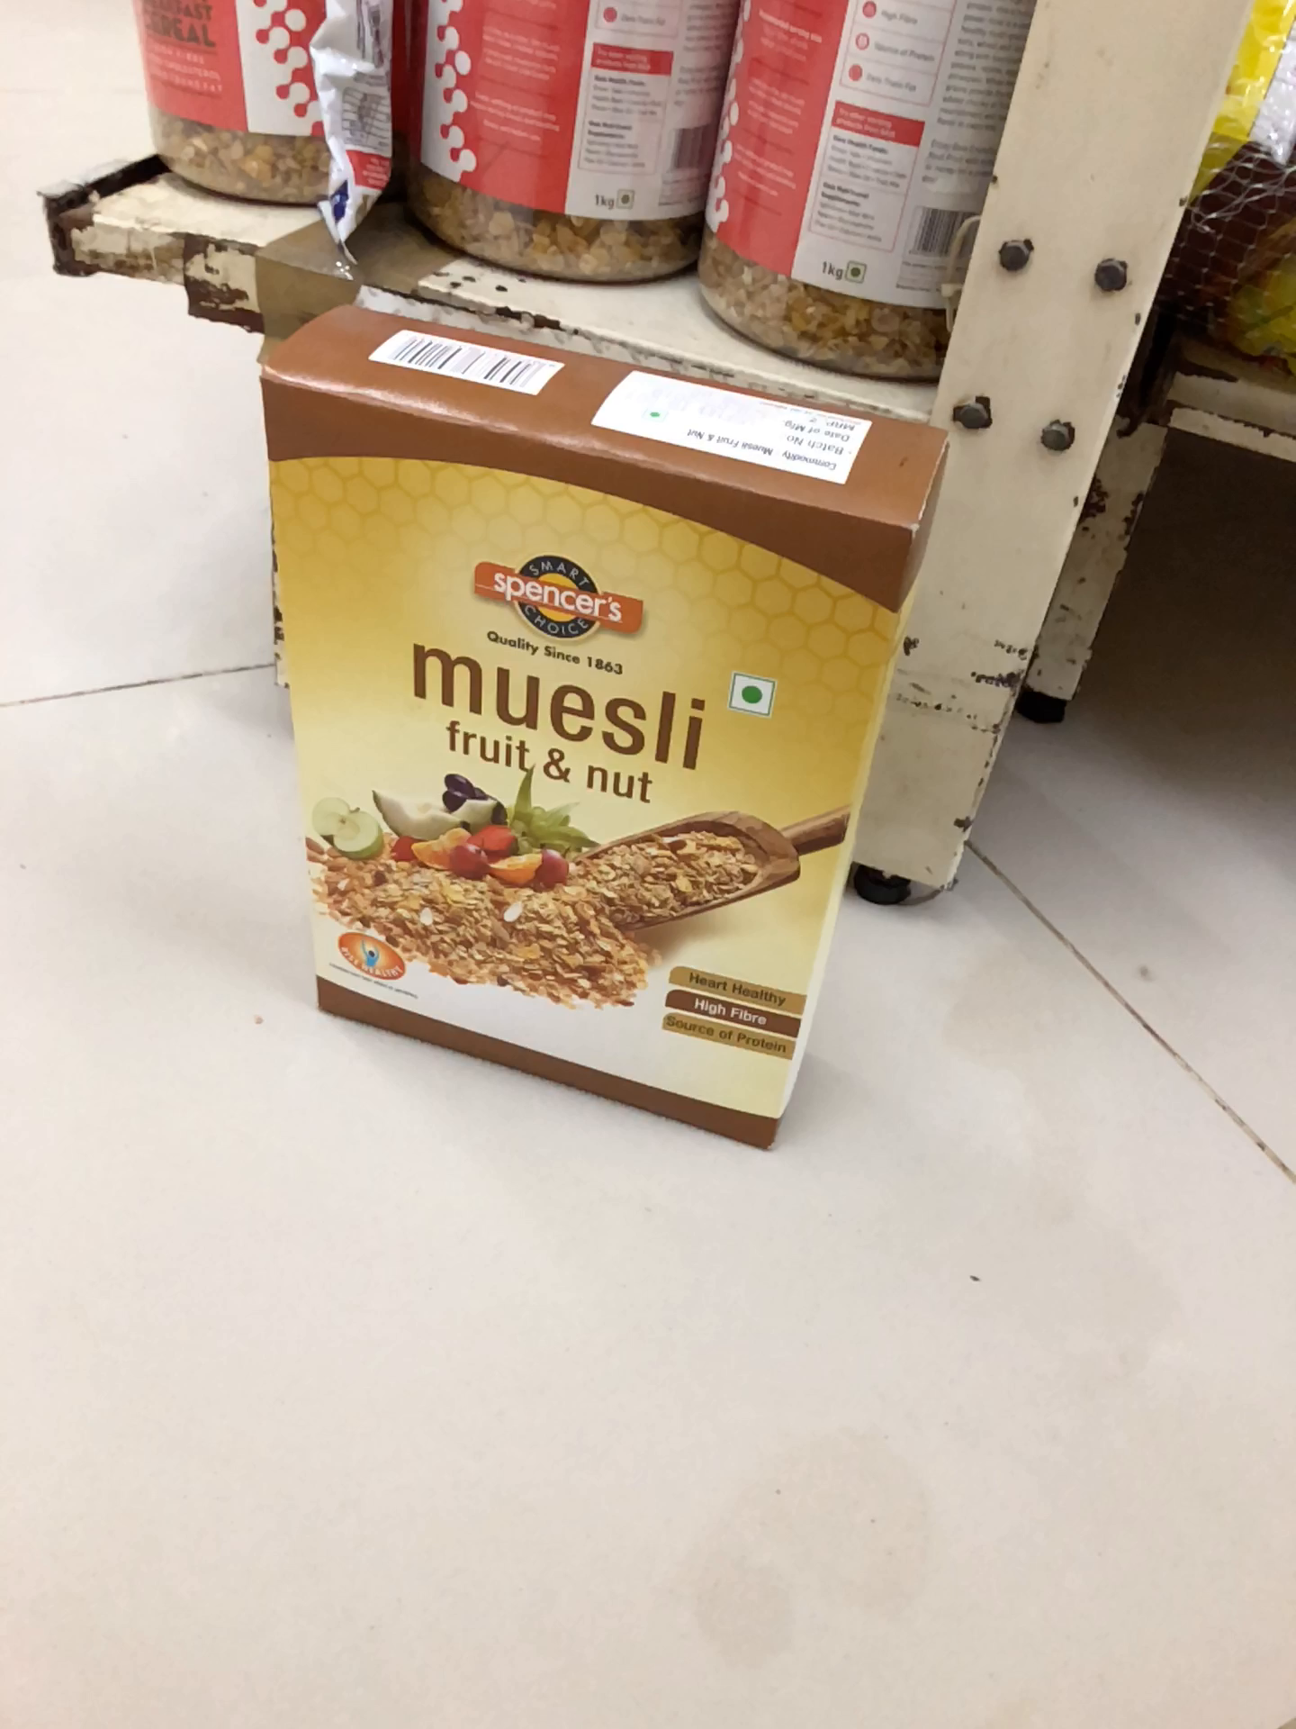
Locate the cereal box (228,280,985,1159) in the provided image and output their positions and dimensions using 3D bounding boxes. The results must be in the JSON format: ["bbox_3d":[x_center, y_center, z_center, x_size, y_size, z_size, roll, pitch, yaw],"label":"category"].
[{"bbox_3d":[-0.020,-0.035,0.450,0.190,0.238,0.060,15,40,10],"label":"cereal box"}]
